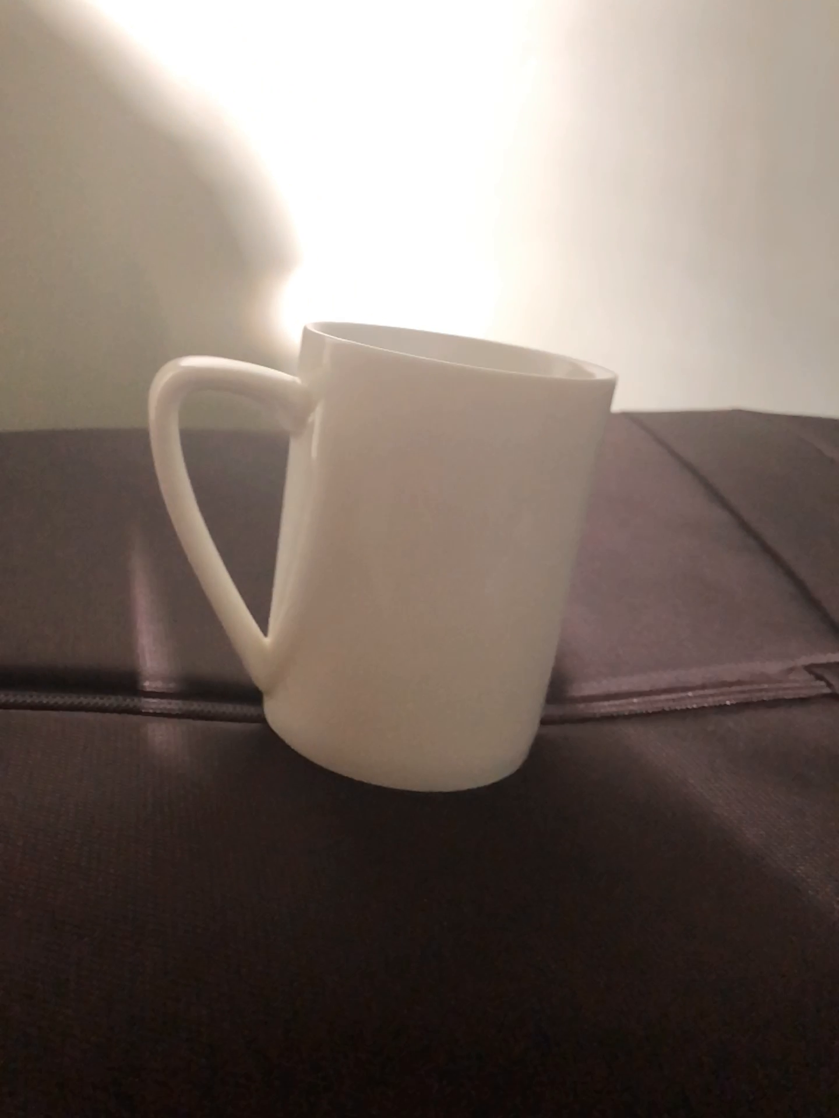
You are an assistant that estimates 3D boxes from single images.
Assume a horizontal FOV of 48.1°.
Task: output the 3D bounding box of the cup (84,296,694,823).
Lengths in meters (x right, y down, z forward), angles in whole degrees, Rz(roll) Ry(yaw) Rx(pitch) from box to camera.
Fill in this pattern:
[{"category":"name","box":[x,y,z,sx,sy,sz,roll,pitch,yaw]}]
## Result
[{"category":"cup","box":[-0.008,-0.010,0.231,0.108,0.090,0.097,9,16,0]}]
